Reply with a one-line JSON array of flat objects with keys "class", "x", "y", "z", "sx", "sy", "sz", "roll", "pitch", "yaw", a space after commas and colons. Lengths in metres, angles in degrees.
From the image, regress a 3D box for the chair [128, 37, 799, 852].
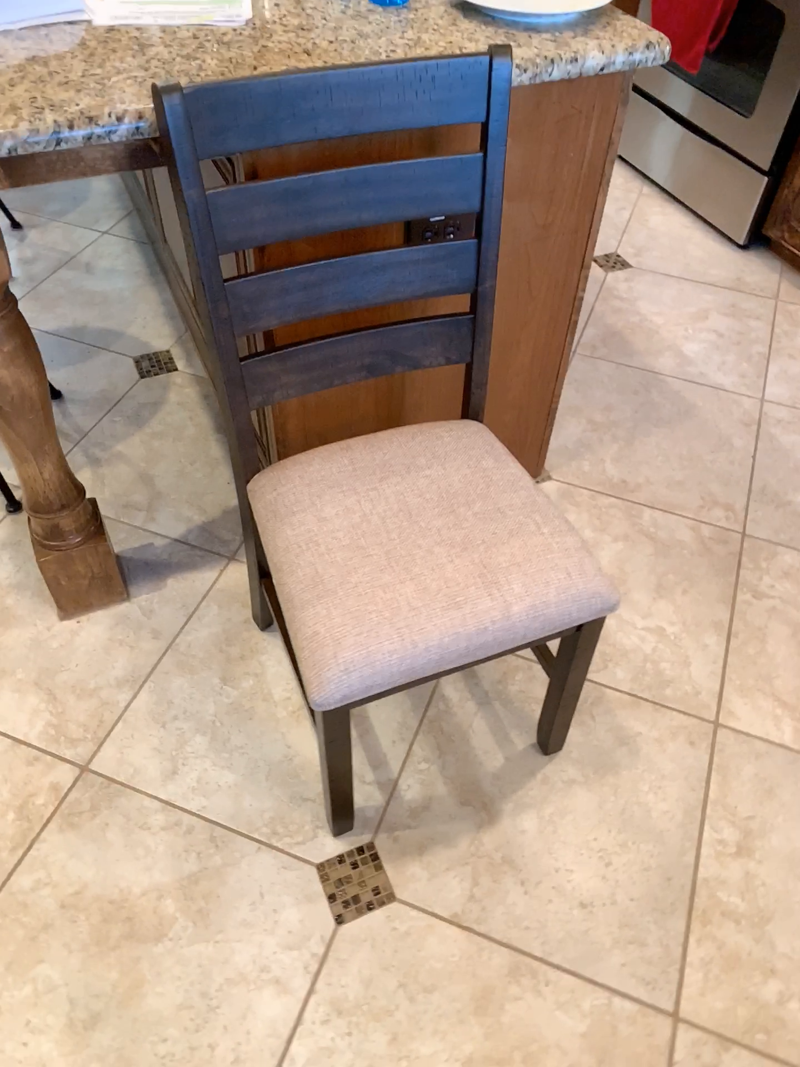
[{"class": "chair", "x": 0.011, "y": -0.064, "z": 1.120, "sx": 0.467, "sy": 0.910, "sz": 0.526, "roll": -17, "pitch": 51, "yaw": -16}]
